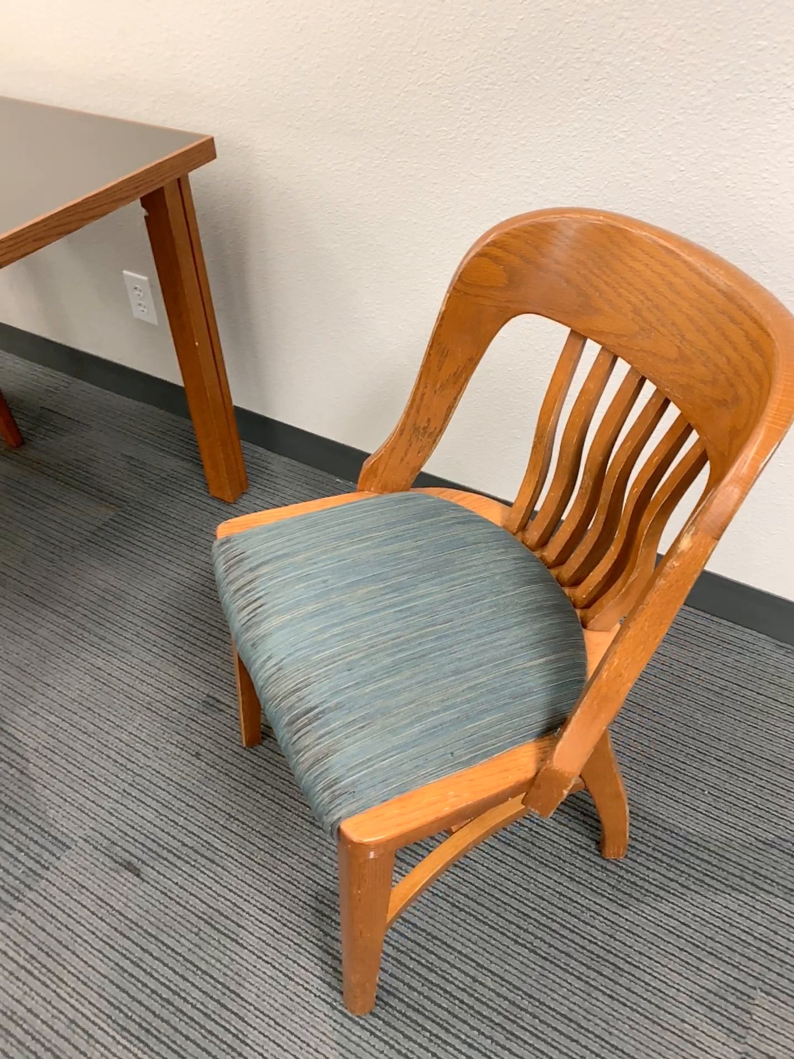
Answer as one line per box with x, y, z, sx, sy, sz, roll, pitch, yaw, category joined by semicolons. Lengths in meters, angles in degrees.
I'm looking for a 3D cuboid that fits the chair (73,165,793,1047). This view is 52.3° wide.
0.074;0.084;0.985;0.620;0.747;0.552;-18;46;-17;chair
